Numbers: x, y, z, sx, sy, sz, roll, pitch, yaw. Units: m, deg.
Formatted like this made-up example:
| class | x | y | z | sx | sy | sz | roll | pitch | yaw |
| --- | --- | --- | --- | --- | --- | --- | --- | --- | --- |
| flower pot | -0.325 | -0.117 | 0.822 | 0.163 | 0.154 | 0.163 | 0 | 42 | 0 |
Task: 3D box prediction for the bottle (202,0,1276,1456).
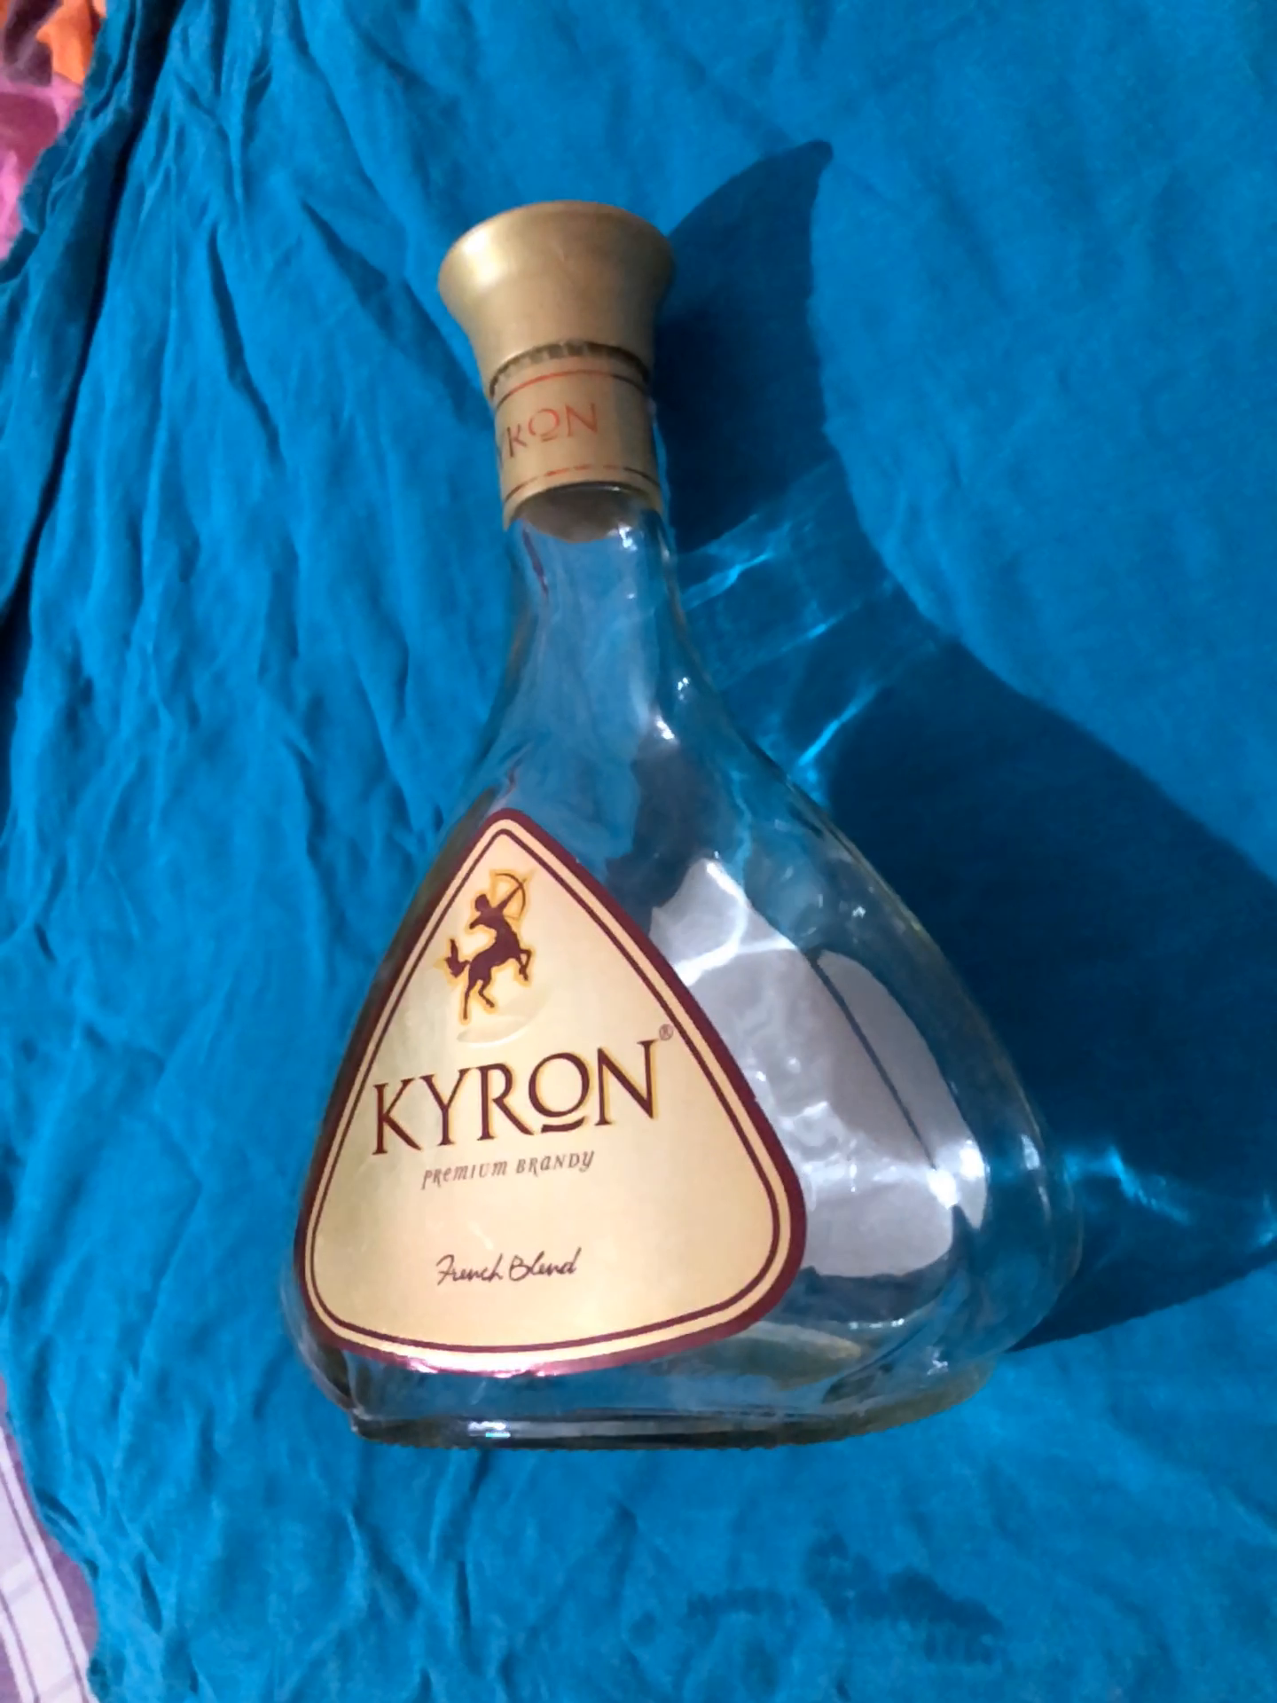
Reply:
| class | x | y | z | sx | sy | sz | roll | pitch | yaw |
| --- | --- | --- | --- | --- | --- | --- | --- | --- | --- |
| bottle | 0.008 | -0.026 | 0.268 | 0.150 | 0.080 | 0.240 | -15 | 78 | 35 |
